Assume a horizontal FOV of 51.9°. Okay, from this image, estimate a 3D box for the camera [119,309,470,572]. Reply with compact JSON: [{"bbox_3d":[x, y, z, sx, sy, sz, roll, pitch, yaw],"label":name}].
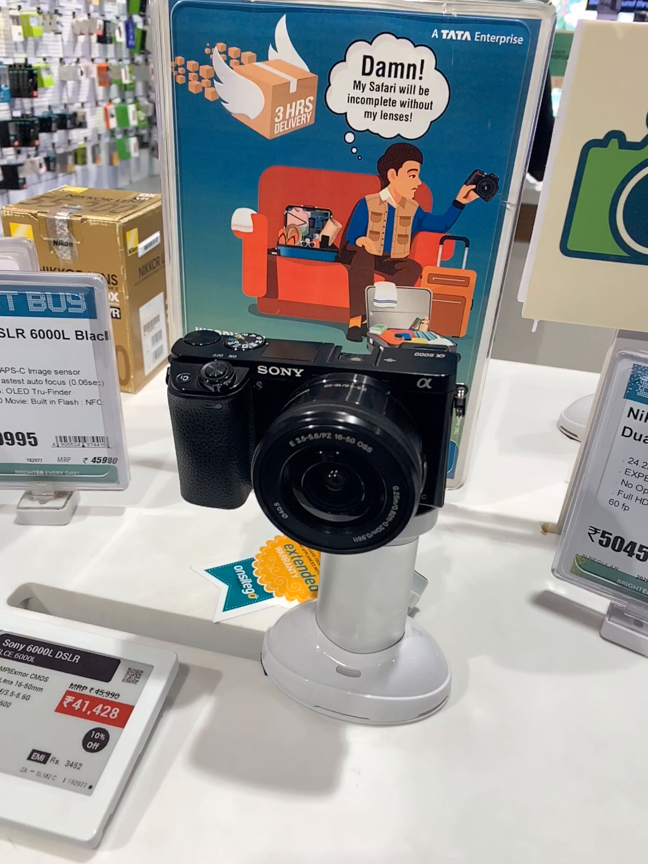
[{"bbox_3d":[-0.010,0.001,0.263,0.118,0.073,0.056,6,29,5],"label":"camera"}]
